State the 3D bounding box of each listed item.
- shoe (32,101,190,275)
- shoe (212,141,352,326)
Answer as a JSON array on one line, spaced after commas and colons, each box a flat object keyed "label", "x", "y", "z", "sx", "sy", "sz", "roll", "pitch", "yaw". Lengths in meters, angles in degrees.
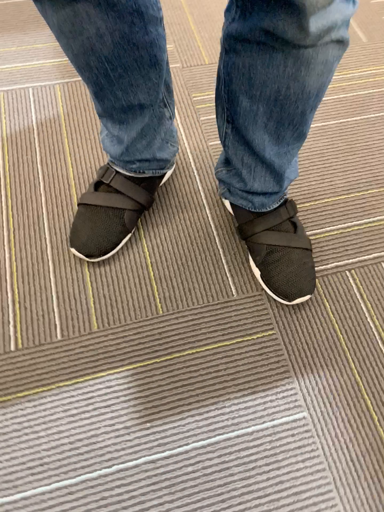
[{"label": "shoe", "x": -0.133, "y": -0.132, "z": 0.733, "sx": 0.120, "sy": 0.110, "sz": 0.301, "roll": 28, "pitch": 65, "yaw": 11}, {"label": "shoe", "x": 0.146, "y": -0.046, "z": 0.720, "sx": 0.120, "sy": 0.120, "sz": 0.301, "roll": -14, "pitch": 64, "yaw": -10}]
